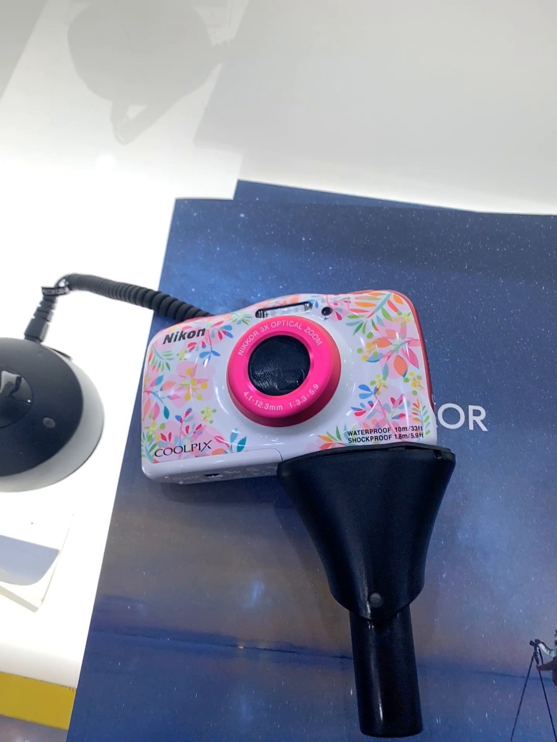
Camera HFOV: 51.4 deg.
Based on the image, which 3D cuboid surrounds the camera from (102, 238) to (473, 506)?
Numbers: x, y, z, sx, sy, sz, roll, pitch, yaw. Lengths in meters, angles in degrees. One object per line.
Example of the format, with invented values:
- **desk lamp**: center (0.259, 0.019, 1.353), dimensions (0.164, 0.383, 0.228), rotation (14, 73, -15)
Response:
- **camera**: center (0.001, 0.000, 0.209), dimensions (0.110, 0.040, 0.080), rotation (-4, 60, 2)
